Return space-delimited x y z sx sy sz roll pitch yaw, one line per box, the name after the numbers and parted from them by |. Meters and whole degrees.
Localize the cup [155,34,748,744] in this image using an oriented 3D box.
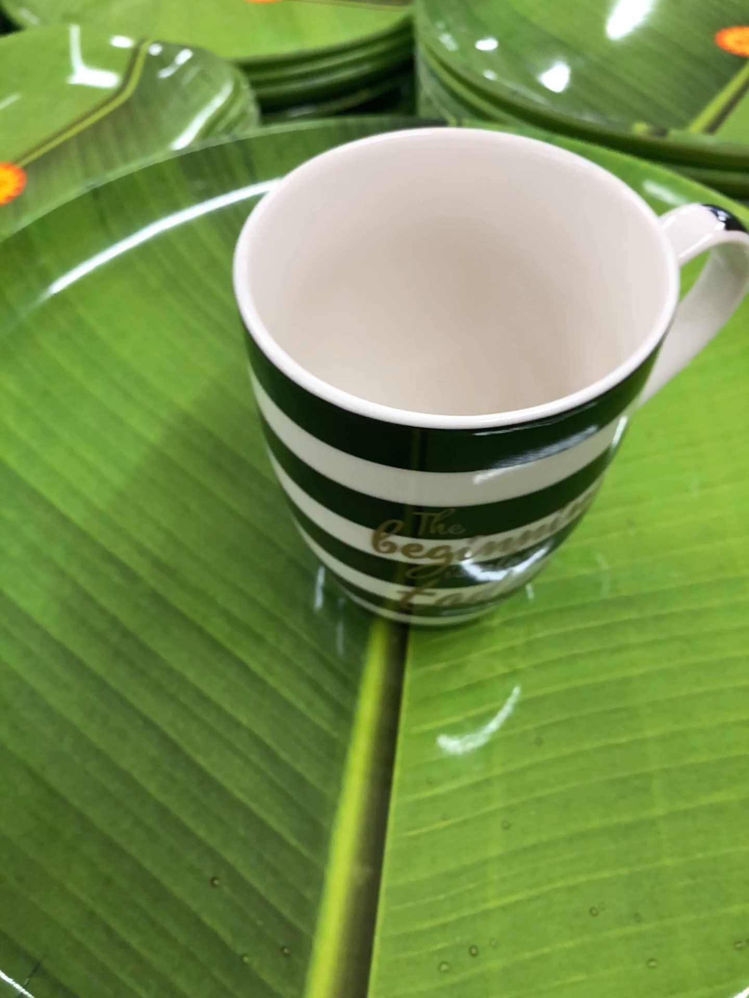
0.037 -0.027 0.183 0.130 0.080 0.080 -24 55 -15 | cup
